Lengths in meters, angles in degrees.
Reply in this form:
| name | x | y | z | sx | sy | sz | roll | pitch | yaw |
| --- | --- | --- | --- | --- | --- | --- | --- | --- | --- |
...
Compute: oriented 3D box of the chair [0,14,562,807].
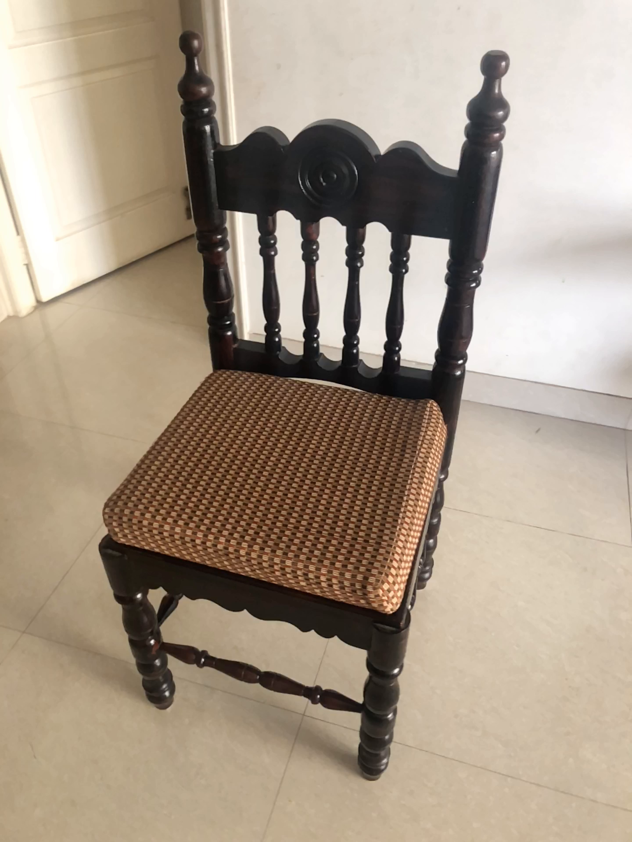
| name | x | y | z | sx | sy | sz | roll | pitch | yaw |
| --- | --- | --- | --- | --- | --- | --- | --- | --- | --- |
| chair | -0.004 | 0.010 | 1.082 | 0.500 | 1.022 | 0.564 | 12 | 40 | 14 |
